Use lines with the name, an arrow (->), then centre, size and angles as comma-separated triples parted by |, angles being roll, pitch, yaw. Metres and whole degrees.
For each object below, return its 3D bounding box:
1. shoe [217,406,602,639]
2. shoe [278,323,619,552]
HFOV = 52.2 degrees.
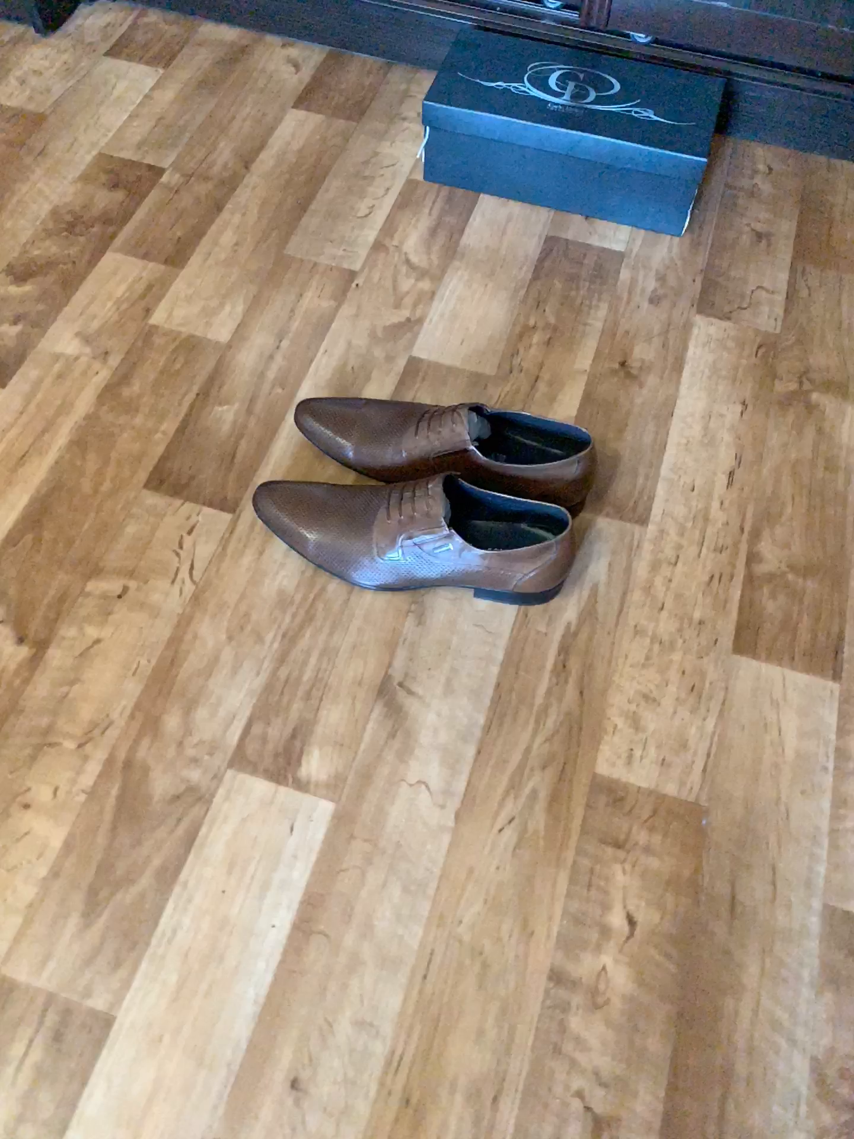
shoe -> -0.014, -0.042, 0.785 | 0.310, 0.100, 0.110 | 13, 61, 6
shoe -> 0.020, -0.129, 0.859 | 0.300, 0.120, 0.100 | 16, 61, 7
